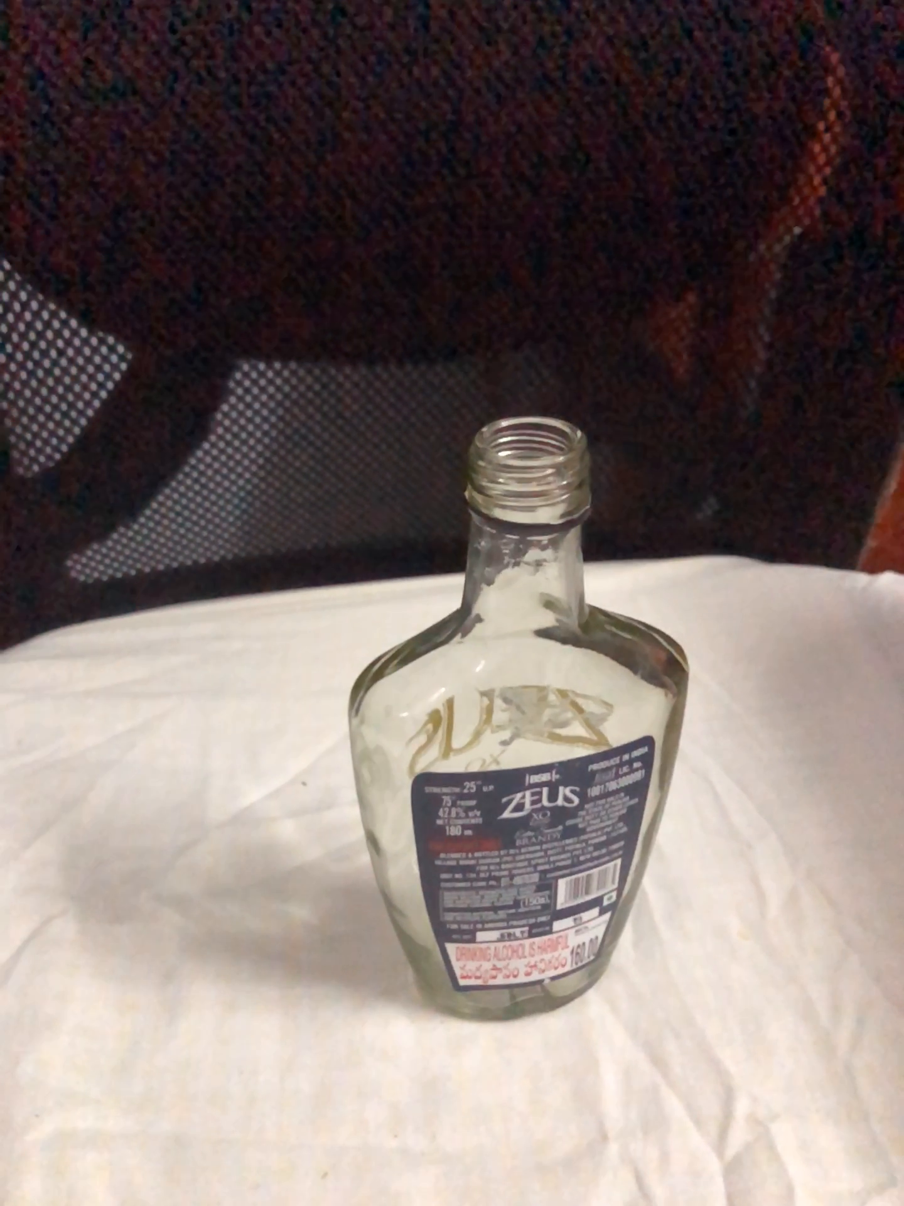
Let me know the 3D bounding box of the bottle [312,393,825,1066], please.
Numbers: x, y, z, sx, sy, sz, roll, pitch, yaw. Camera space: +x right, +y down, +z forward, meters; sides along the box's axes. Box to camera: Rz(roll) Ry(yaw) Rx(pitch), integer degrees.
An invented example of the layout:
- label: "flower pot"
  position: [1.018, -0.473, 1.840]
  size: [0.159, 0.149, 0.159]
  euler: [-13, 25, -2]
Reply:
- label: "bottle"
  position: [0.018, 0.037, 0.246]
  size: [0.090, 0.159, 0.050]
  euler: [-7, 37, -11]
